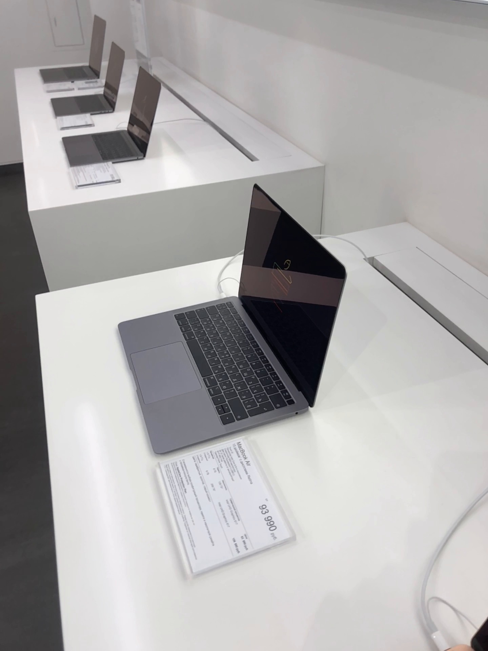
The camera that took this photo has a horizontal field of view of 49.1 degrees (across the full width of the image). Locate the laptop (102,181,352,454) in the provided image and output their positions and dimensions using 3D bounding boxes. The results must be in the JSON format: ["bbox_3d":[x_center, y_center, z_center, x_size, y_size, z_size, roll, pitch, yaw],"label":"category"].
[{"bbox_3d":[-0.037,-0.034,0.738,0.250,0.194,0.286,-15,36,-15],"label":"laptop"}]

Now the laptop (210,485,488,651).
[{"bbox_3d":[0.159,0.279,0.260,0.260,0.184,0.295,-11,35,-14],"label":"laptop"}]
